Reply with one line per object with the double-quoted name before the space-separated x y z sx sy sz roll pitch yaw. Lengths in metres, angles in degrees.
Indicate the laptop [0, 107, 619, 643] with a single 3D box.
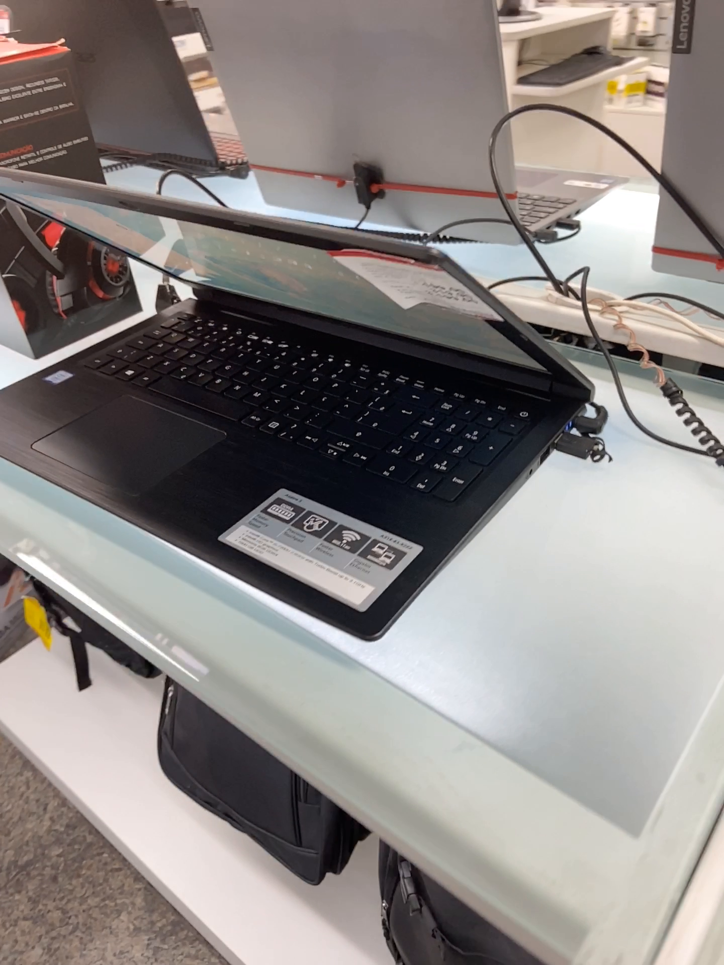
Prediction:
"laptop" -0.080 -0.110 0.456 0.371 0.157 0.239 21 44 31
